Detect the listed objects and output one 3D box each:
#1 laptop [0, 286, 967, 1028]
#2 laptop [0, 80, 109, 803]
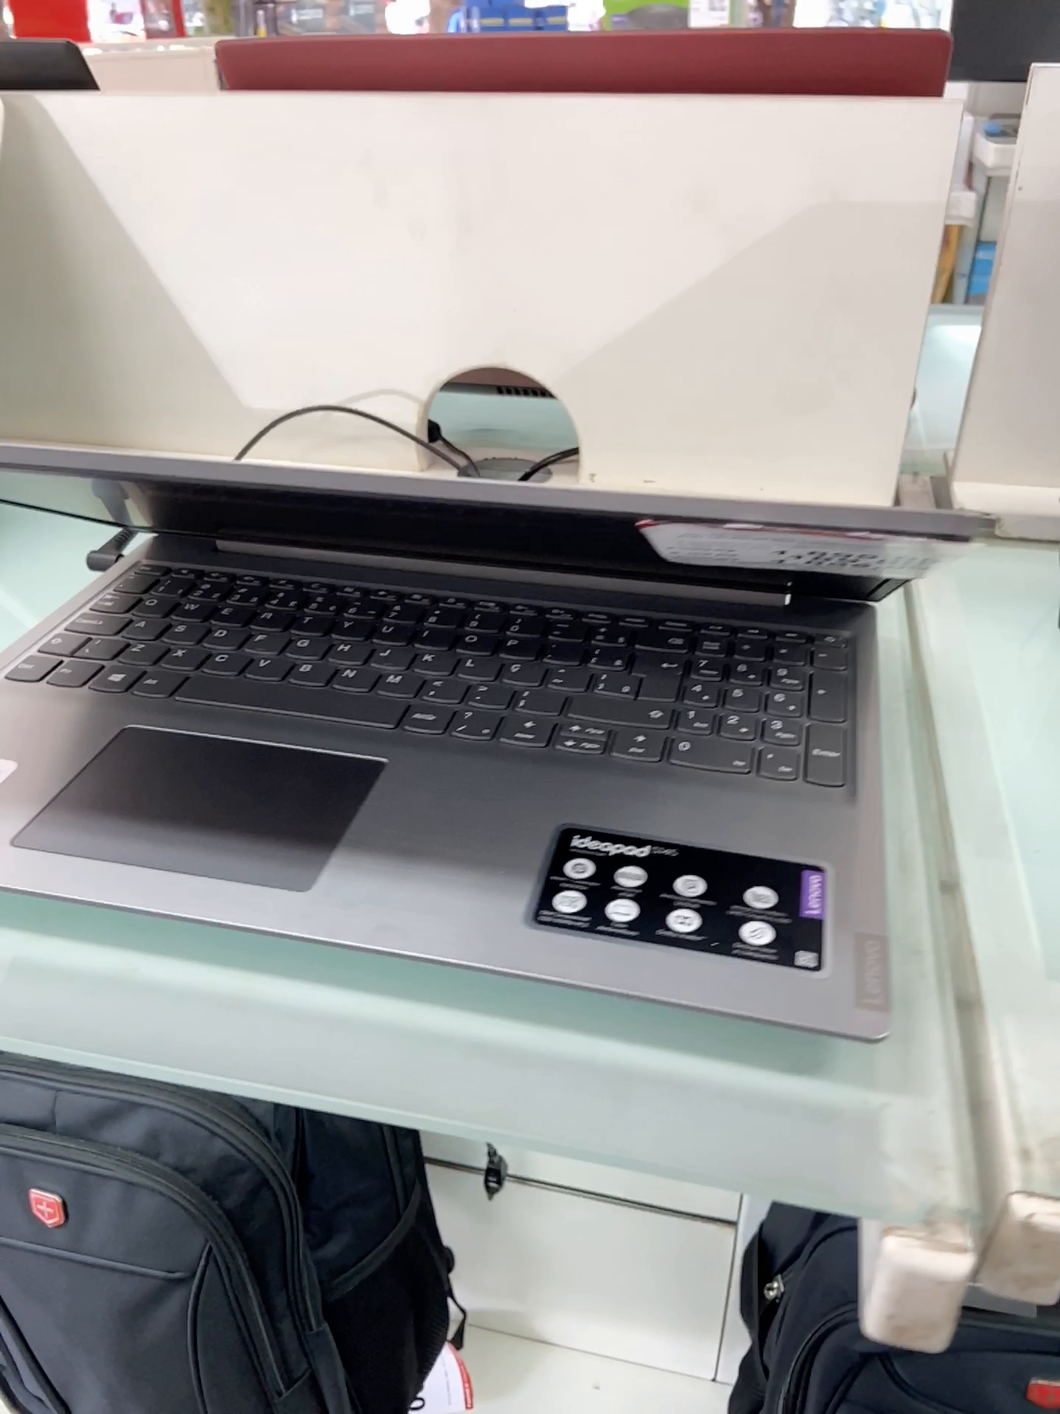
[{"bbox_3d":[-0.056,-0.055,0.396,0.363,0.127,0.251,6,33,12],"label":"laptop"},{"bbox_3d":[-0.526,-0.176,0.538,0.409,0.202,0.385,7,34,14],"label":"laptop"}]
